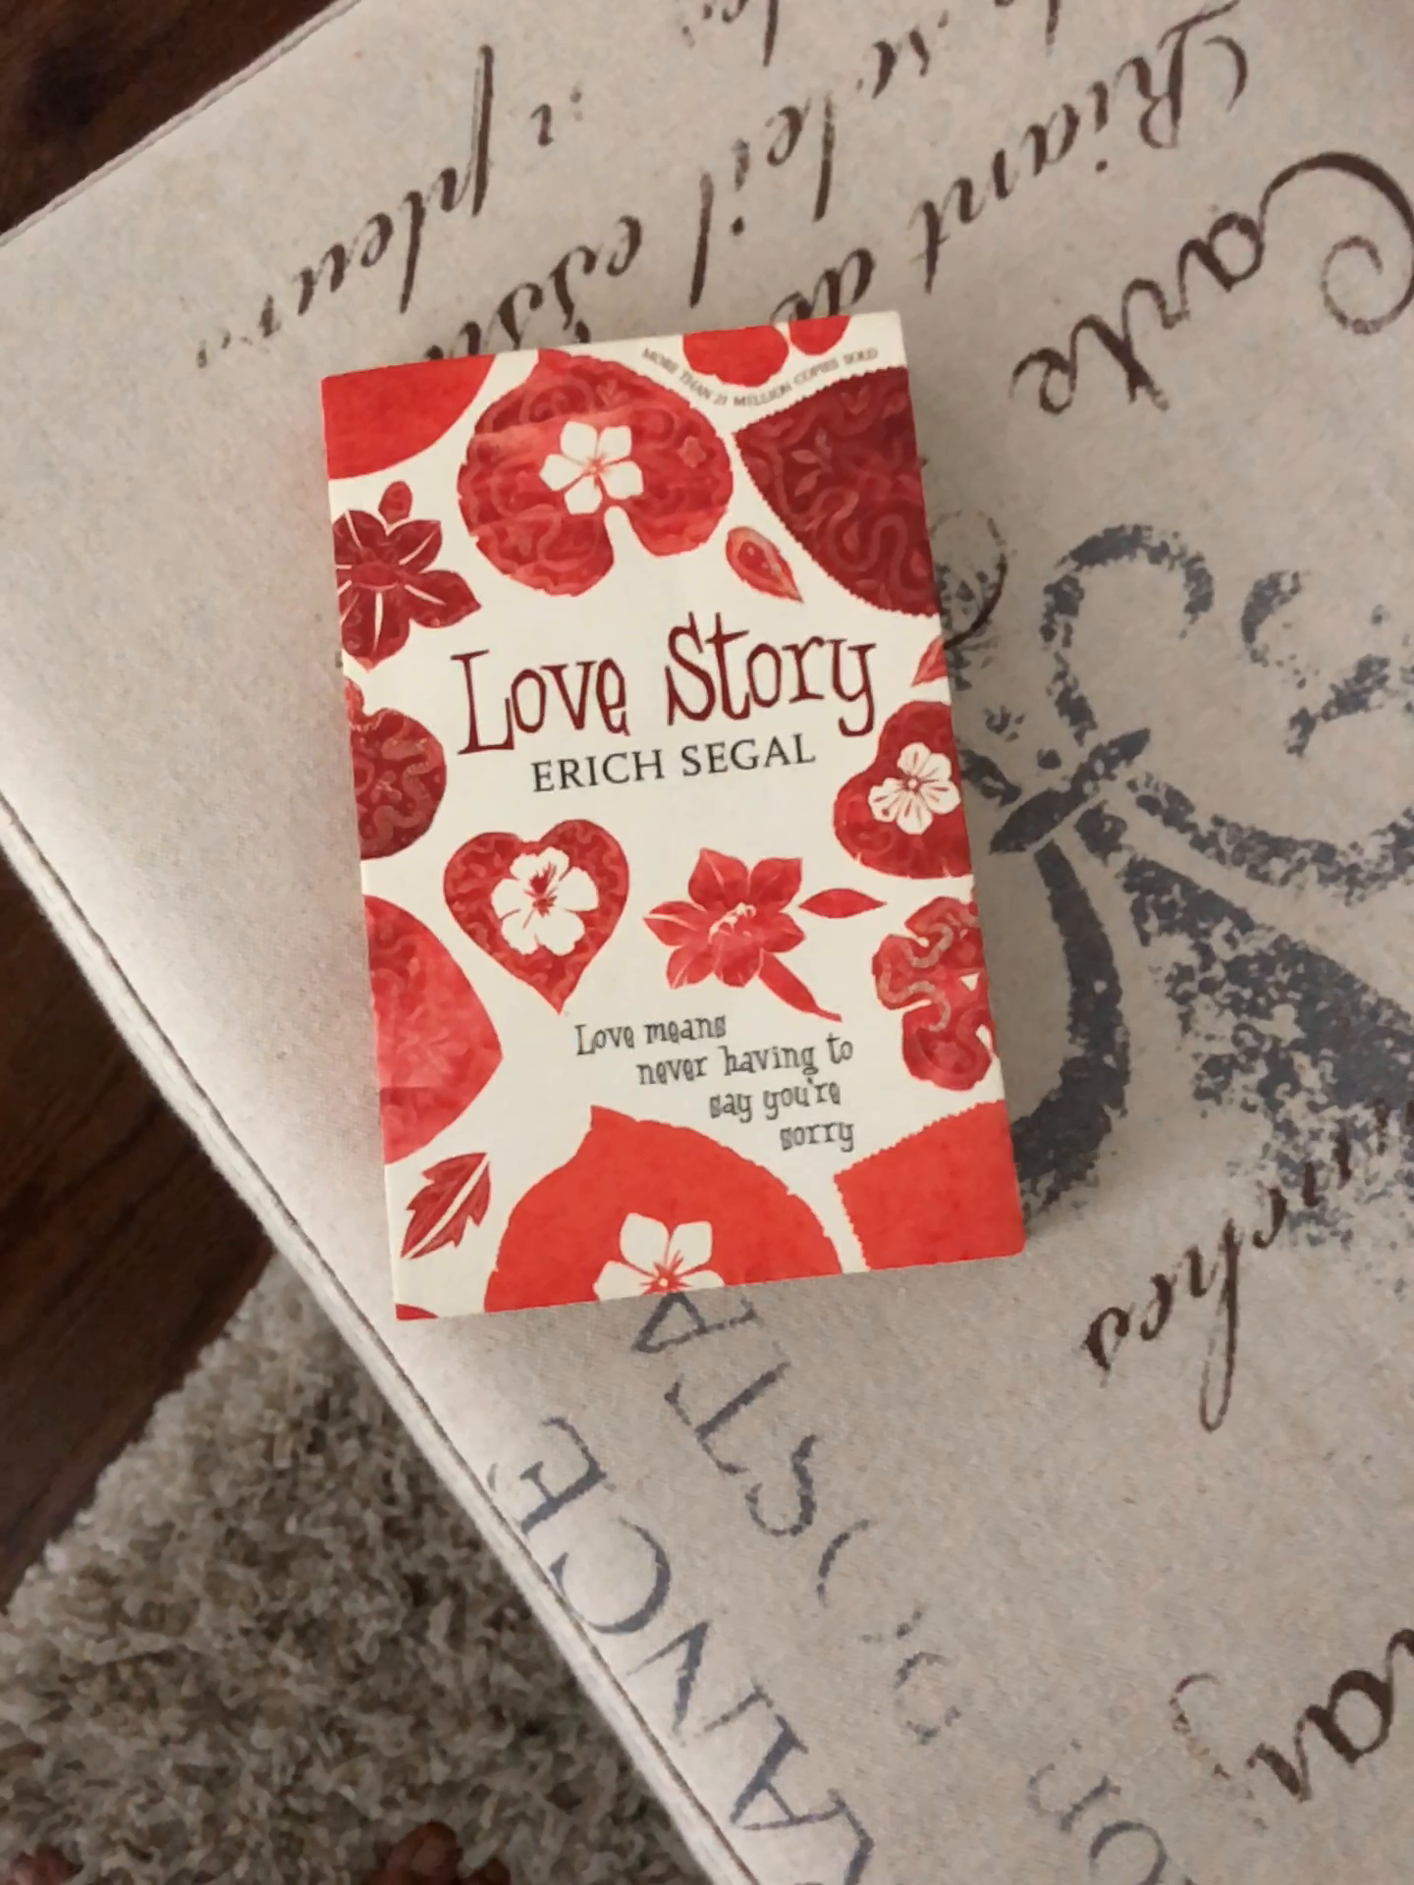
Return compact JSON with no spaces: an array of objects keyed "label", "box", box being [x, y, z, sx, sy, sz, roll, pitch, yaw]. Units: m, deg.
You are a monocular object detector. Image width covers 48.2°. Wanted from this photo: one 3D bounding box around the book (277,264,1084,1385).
[{"label":"book","box":[-0.008,-0.025,0.285,0.120,0.020,0.188,-7,81,-1]}]
